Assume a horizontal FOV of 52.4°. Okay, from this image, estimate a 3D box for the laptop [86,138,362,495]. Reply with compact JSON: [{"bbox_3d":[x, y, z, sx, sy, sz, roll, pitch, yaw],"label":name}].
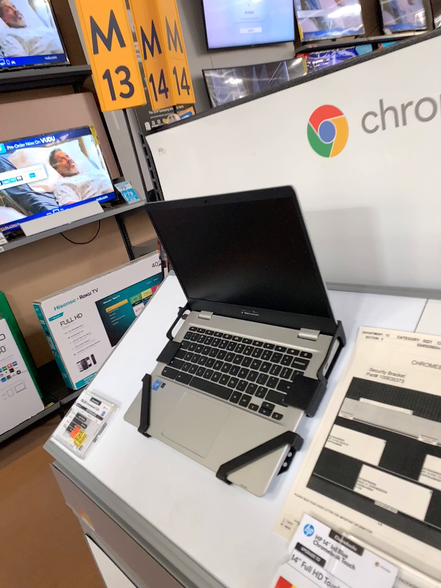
[{"bbox_3d":[-0.004,0.004,0.653,0.309,0.196,0.292,7,48,48],"label":"laptop"}]
